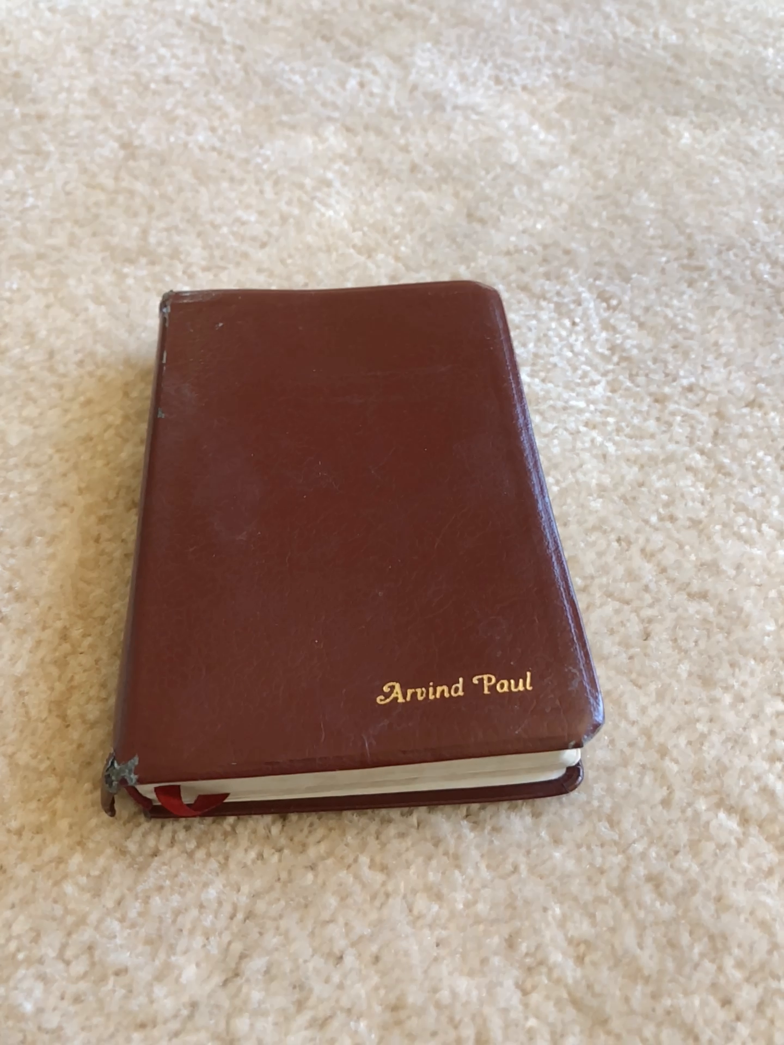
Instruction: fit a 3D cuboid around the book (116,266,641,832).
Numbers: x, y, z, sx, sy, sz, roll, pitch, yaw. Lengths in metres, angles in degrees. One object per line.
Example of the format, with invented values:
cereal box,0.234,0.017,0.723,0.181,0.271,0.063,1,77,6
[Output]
book,-0.009,-0.004,0.245,0.110,0.040,0.157,-3,54,-4
